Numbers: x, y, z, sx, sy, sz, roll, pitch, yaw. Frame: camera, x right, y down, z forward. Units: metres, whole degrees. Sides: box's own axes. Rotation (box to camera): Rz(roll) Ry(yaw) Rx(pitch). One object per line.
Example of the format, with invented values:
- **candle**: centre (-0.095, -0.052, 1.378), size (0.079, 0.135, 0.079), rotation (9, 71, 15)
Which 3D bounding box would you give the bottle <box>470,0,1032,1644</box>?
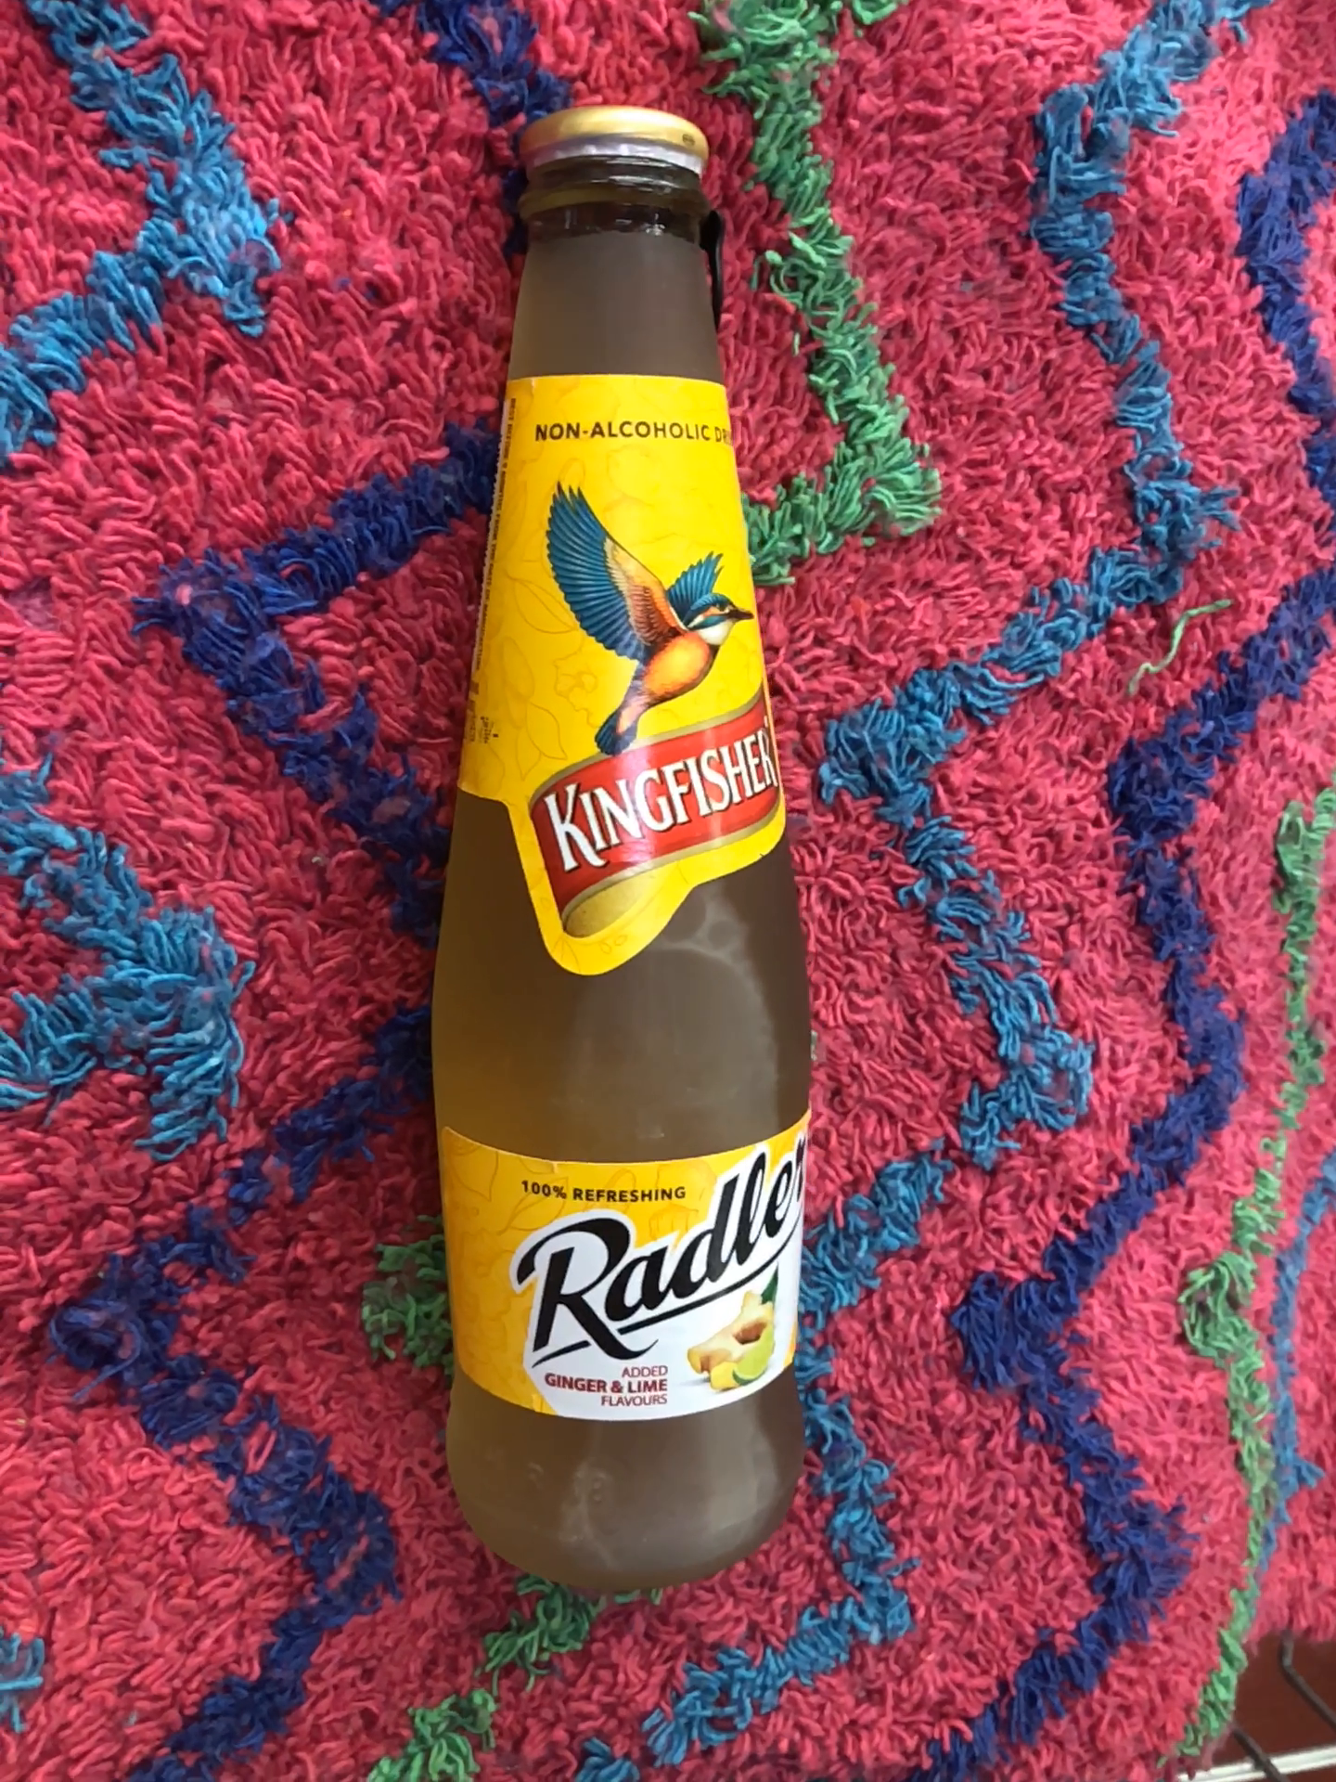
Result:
- **bottle**: centre (0.009, -0.006, 0.225), size (0.060, 0.060, 0.210), rotation (-4, 101, -18)
